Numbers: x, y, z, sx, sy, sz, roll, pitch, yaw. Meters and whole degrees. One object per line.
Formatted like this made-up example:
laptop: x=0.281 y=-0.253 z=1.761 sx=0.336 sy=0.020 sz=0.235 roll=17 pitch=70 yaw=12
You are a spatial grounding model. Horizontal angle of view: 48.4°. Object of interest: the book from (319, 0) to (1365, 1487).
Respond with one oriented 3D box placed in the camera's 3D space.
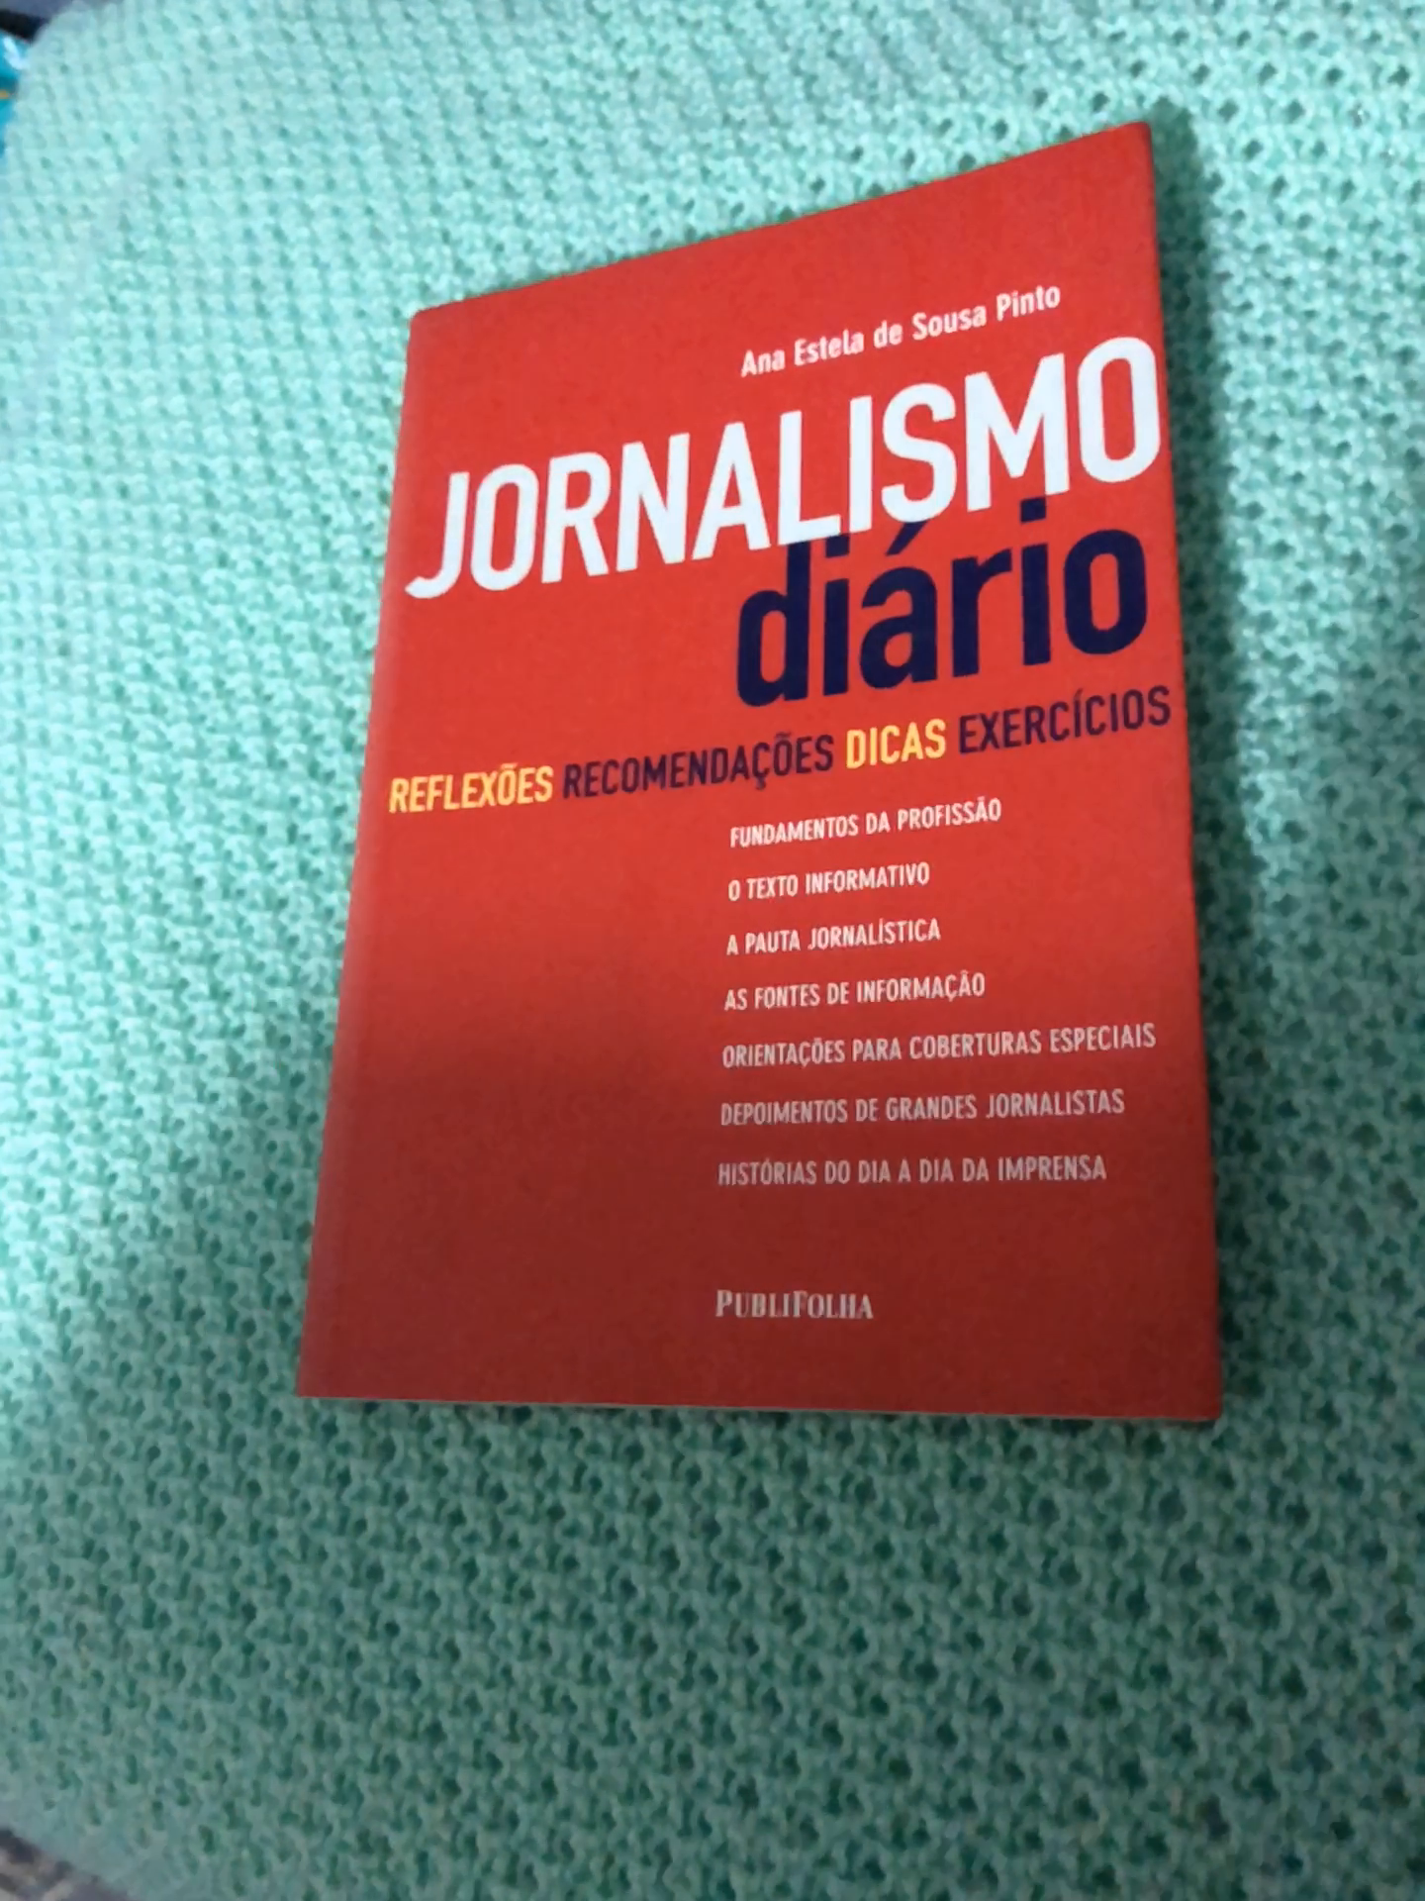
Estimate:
book: x=0.017 y=-0.040 z=0.281 sx=0.160 sy=0.030 sz=0.250 roll=-6 pitch=72 yaw=23
